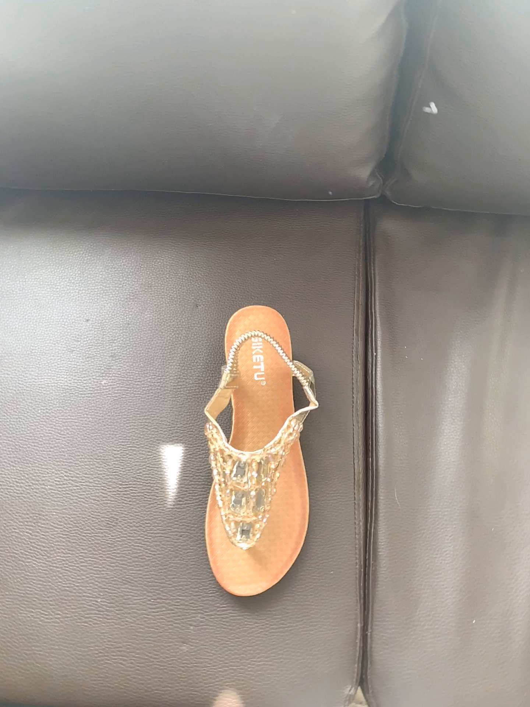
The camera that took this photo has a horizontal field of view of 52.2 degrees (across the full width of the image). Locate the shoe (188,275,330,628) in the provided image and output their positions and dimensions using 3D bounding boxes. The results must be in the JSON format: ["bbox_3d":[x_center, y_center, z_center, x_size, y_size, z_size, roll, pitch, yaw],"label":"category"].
[{"bbox_3d":[-0.003,0.082,0.486,0.100,0.140,0.271,0,74,0],"label":"shoe"}]
